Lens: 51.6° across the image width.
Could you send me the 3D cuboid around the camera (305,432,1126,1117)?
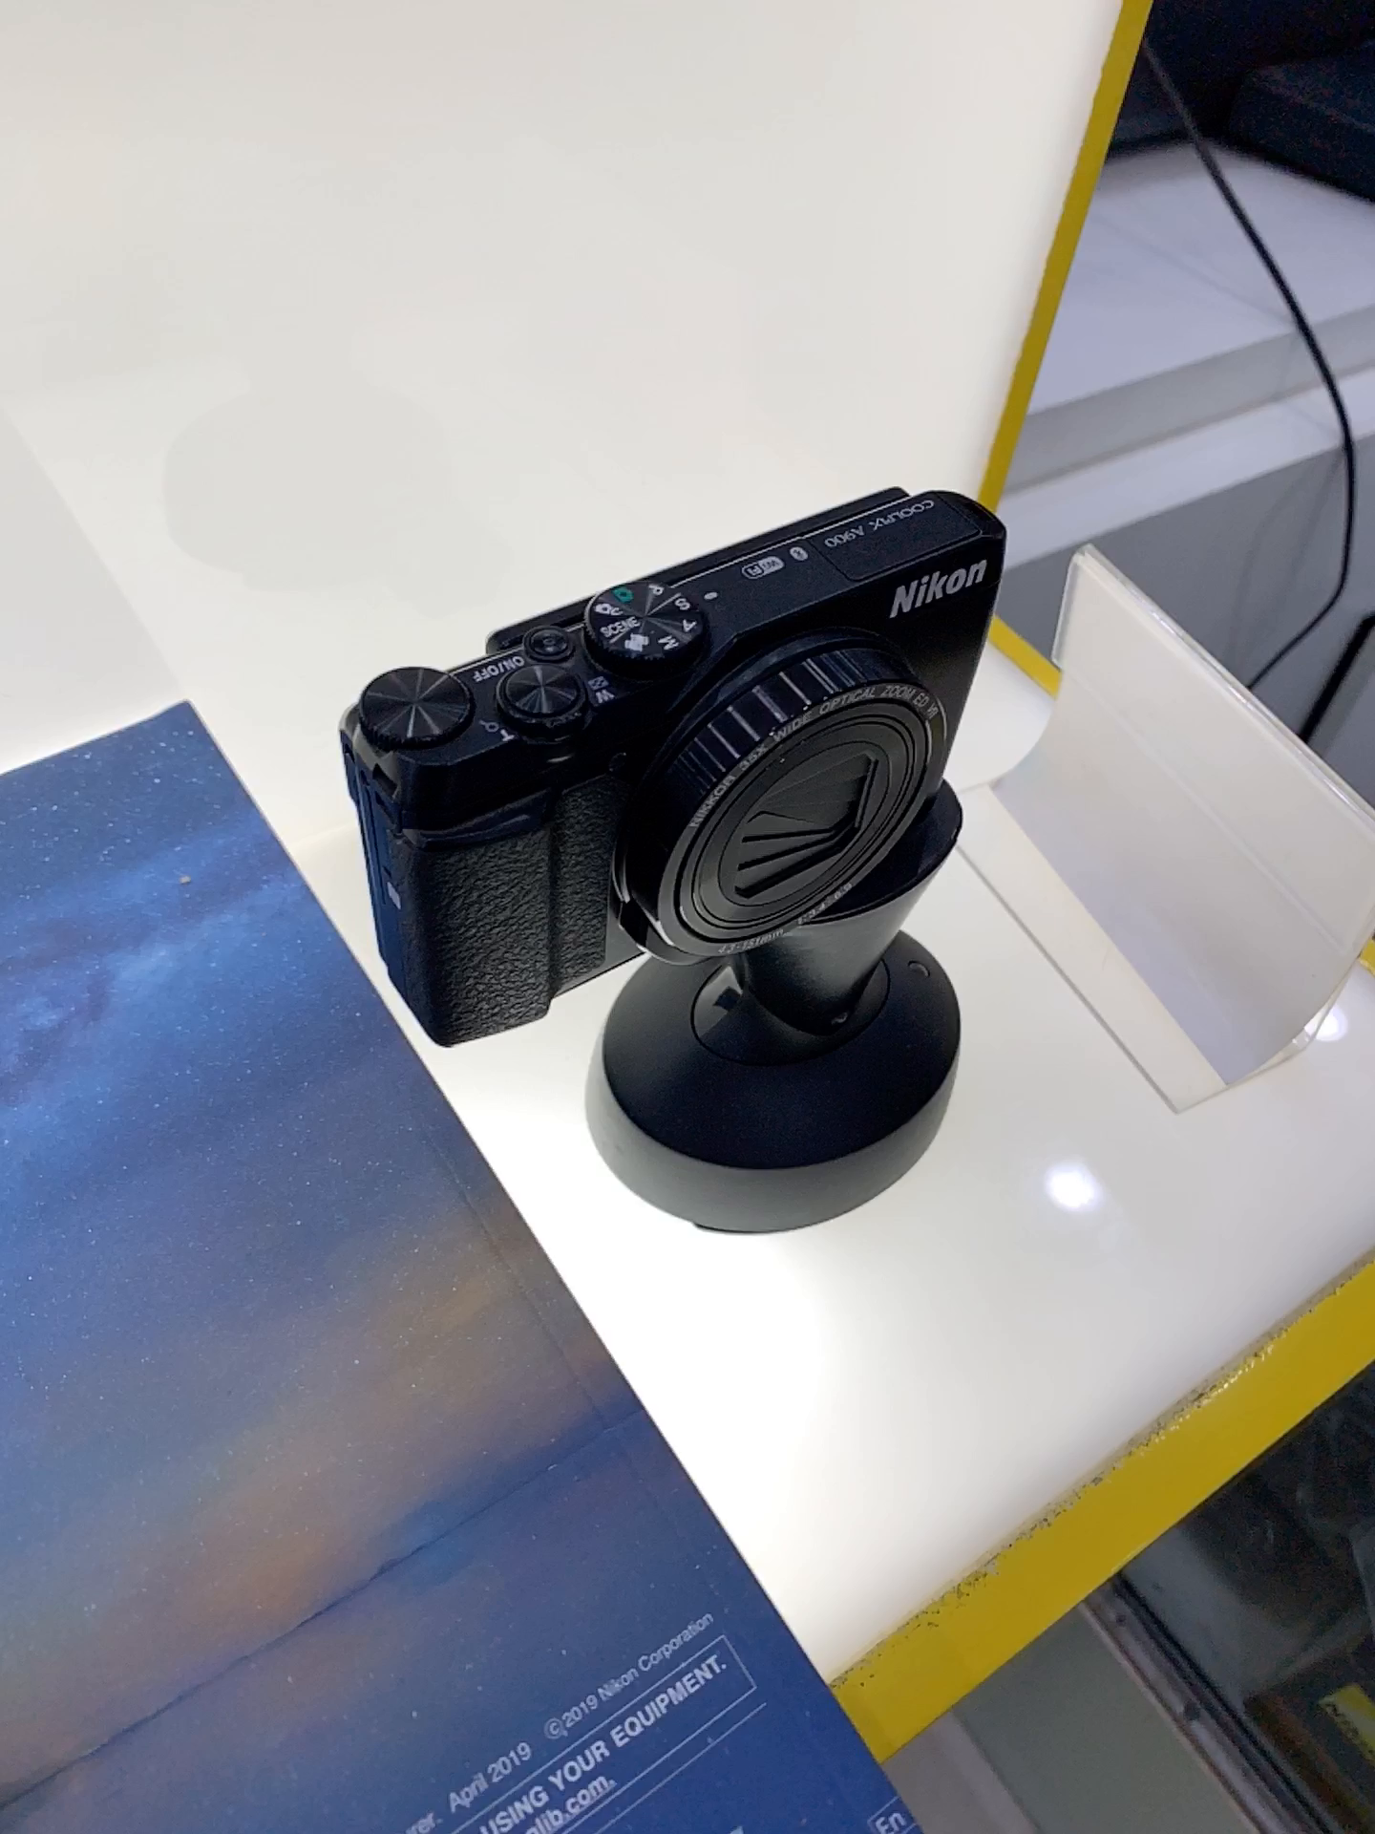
[{"bbox_3d":[0.006,-0.026,0.229,0.120,0.060,0.040,-27,59,-26],"label":"camera"}]
